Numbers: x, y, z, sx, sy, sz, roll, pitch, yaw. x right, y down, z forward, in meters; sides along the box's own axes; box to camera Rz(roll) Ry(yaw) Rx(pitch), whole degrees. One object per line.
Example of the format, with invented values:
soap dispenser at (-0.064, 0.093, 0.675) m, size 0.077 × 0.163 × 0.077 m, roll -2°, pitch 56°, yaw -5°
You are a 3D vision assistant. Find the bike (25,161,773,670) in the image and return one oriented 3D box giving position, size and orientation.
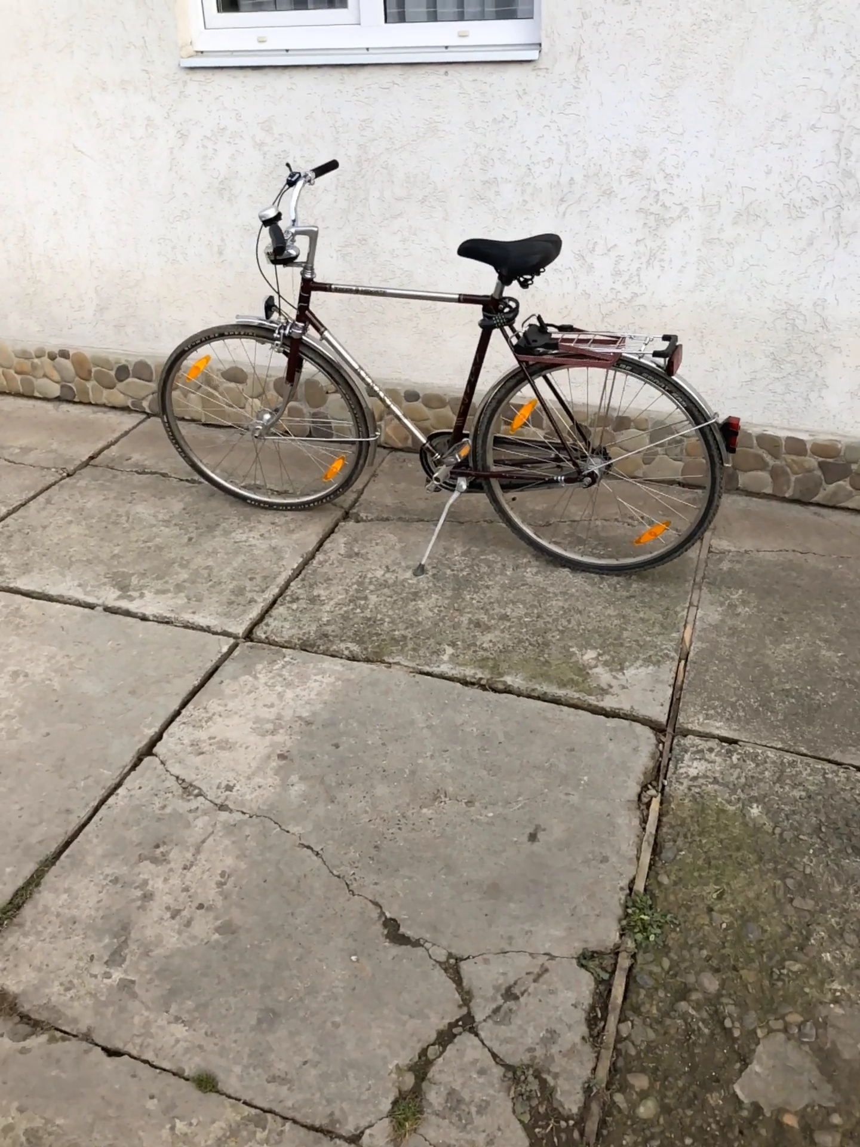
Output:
bike at (-0.075, -0.498, 2.574) m, size 1.709 × 1.054 × 0.601 m, roll 10°, pitch 33°, yaw 19°
